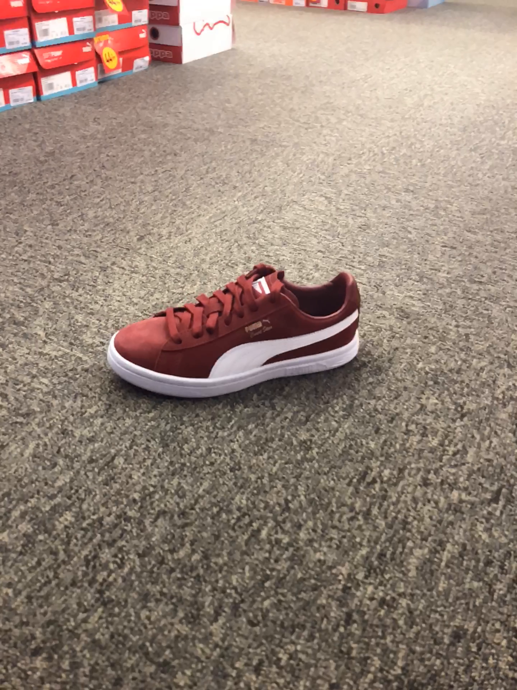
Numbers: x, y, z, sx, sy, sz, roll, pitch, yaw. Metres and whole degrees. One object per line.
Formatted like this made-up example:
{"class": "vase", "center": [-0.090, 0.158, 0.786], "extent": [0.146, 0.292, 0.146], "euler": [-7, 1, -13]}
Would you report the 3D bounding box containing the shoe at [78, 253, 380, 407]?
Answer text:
{"class": "shoe", "center": [-0.028, -0.019, 0.529], "extent": [0.250, 0.080, 0.101], "euler": [-5, 37, -9]}
